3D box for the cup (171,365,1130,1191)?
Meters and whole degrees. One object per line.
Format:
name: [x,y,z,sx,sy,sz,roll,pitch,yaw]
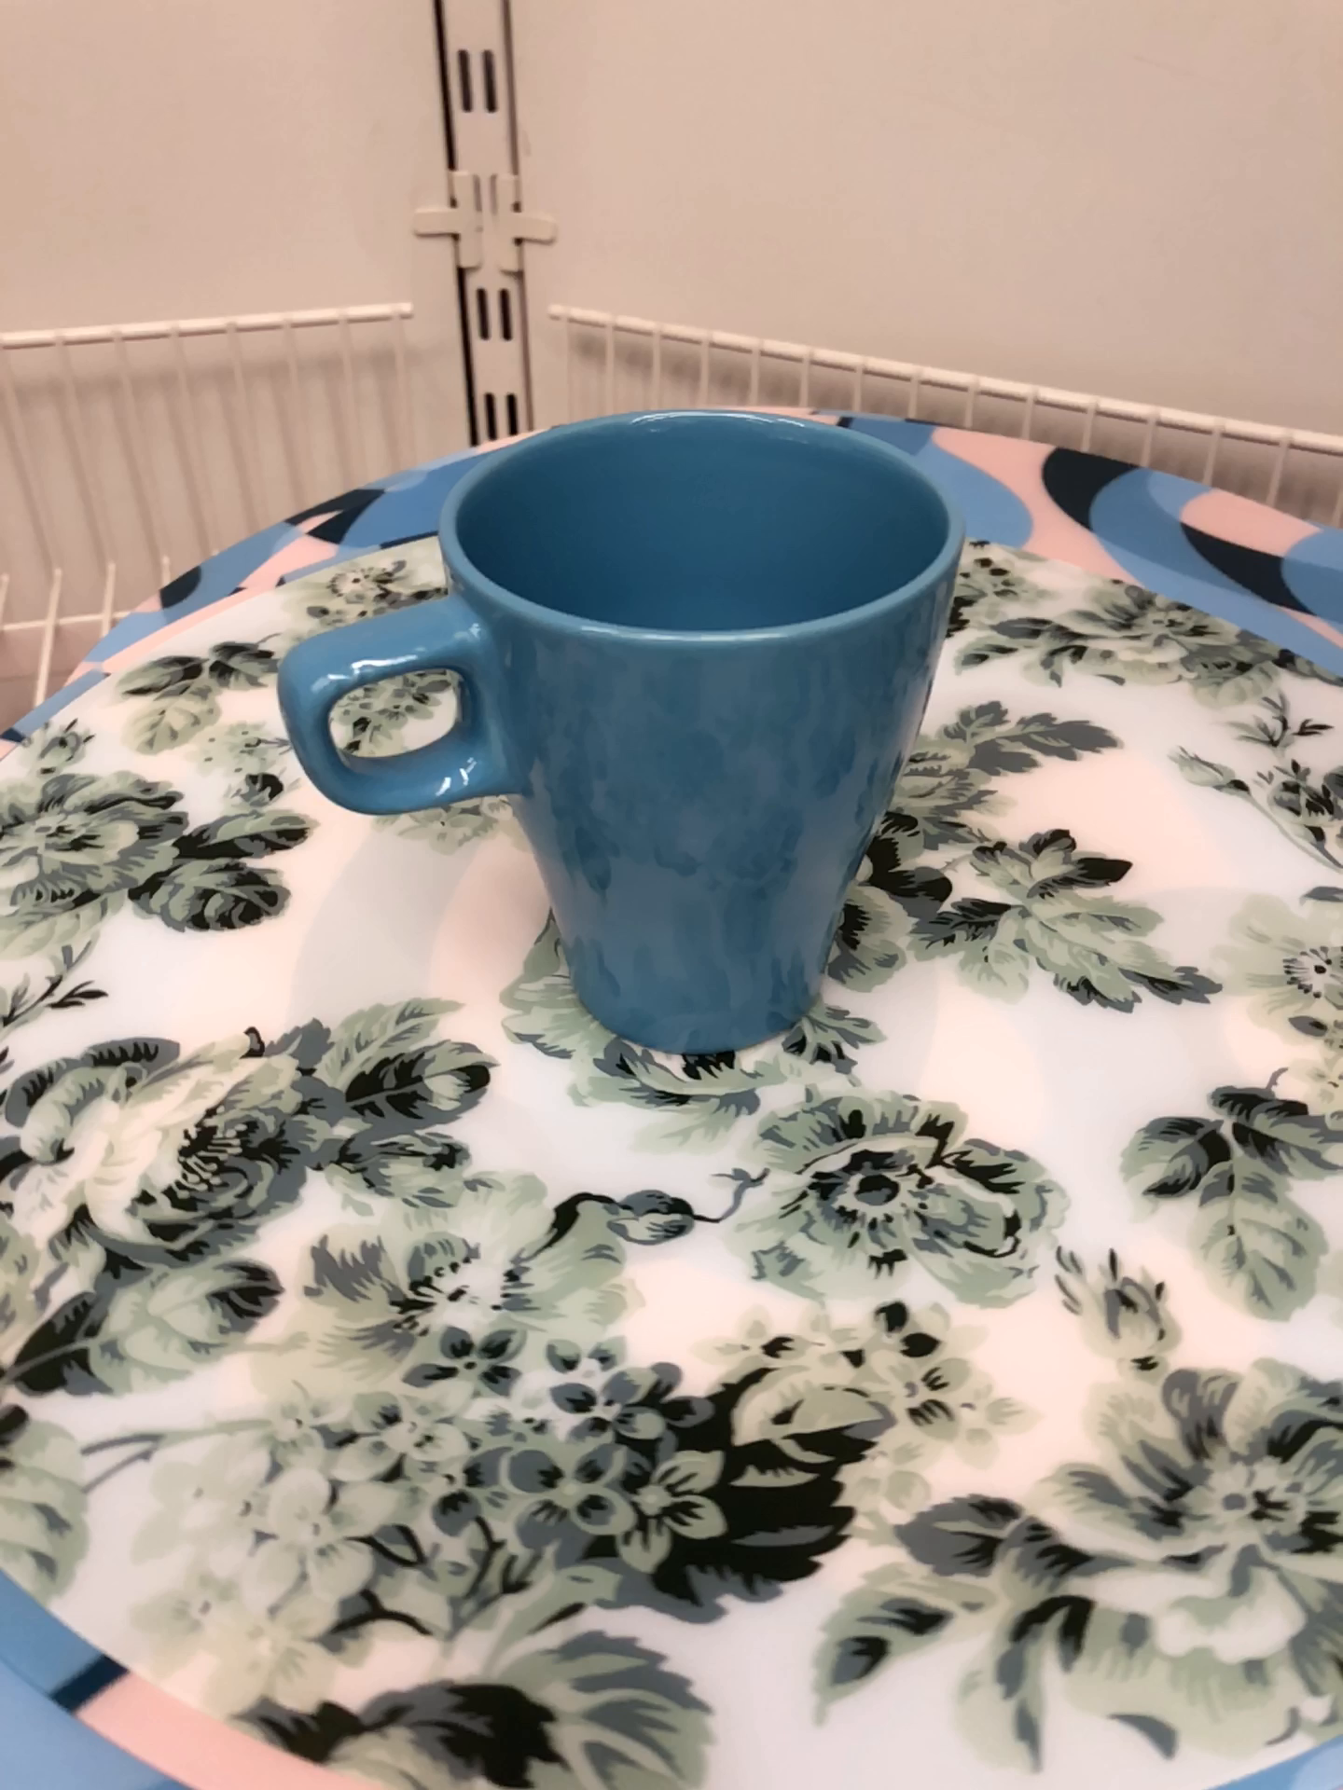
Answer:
cup: [-0.005,-0.029,0.255,0.120,0.080,0.090,-19,40,-24]
